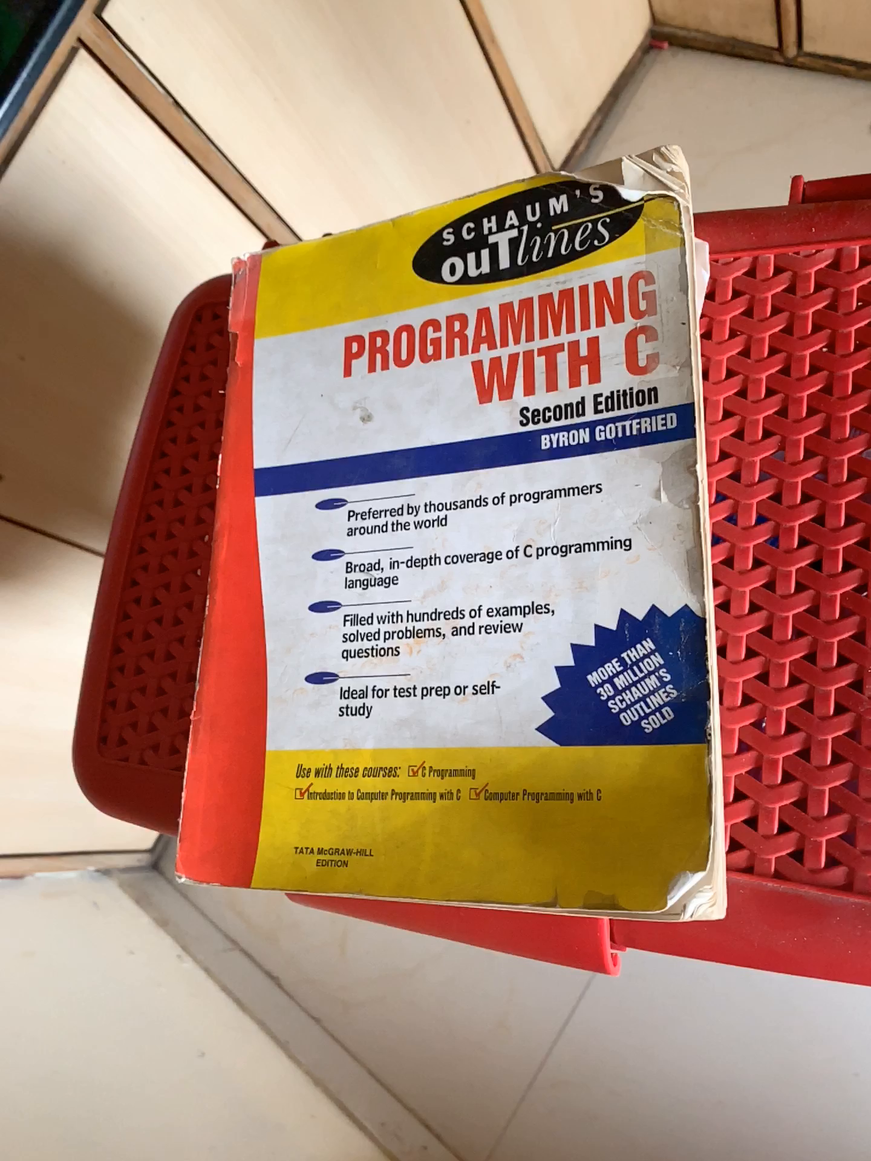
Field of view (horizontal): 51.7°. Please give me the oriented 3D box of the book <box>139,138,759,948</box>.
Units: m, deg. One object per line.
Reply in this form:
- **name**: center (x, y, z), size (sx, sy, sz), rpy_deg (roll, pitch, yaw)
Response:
- **book**: center (0.003, -0.013, 0.328), size (0.200, 0.050, 0.250), rpy_deg (-4, 74, 24)
